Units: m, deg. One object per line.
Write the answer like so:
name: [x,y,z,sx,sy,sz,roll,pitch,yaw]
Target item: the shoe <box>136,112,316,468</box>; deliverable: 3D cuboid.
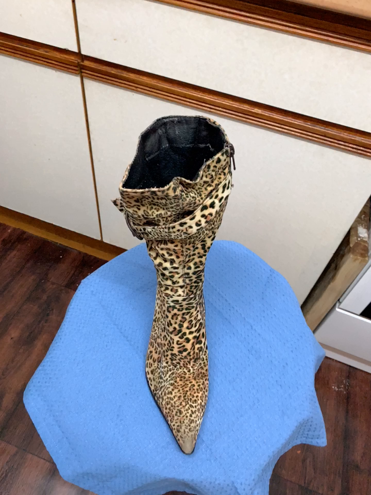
shoe: [-0.001,0.070,0.448,0.100,0.347,0.262,-2,51,-9]
